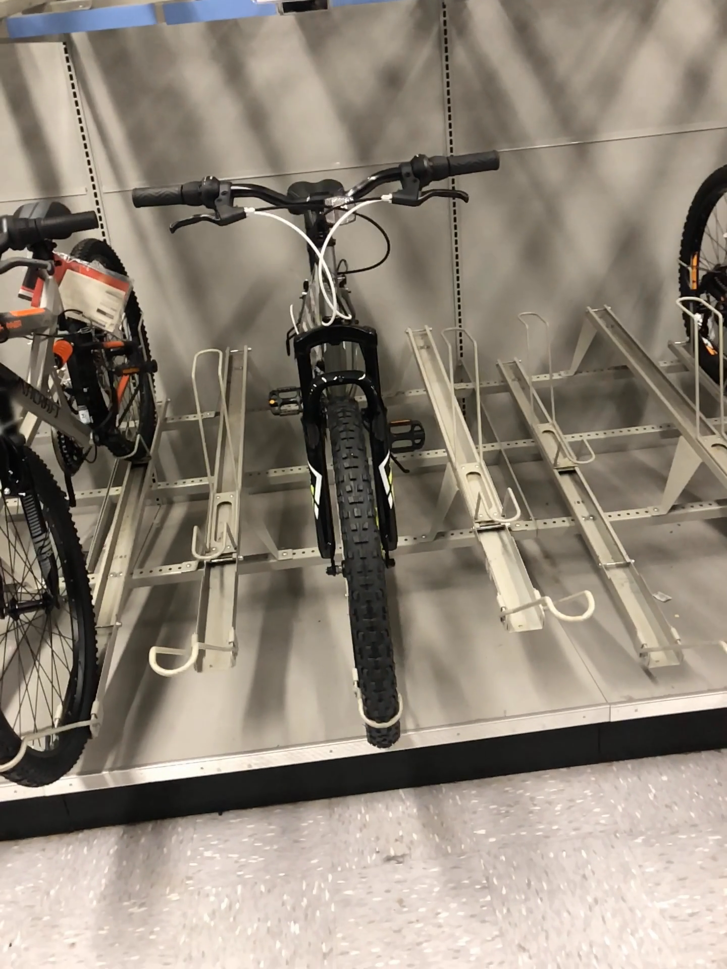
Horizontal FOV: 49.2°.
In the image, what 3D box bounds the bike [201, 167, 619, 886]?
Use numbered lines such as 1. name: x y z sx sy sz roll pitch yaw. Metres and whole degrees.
1. bike: 0.025 -0.152 1.987 0.607 0.728 1.727 -7 33 -1
